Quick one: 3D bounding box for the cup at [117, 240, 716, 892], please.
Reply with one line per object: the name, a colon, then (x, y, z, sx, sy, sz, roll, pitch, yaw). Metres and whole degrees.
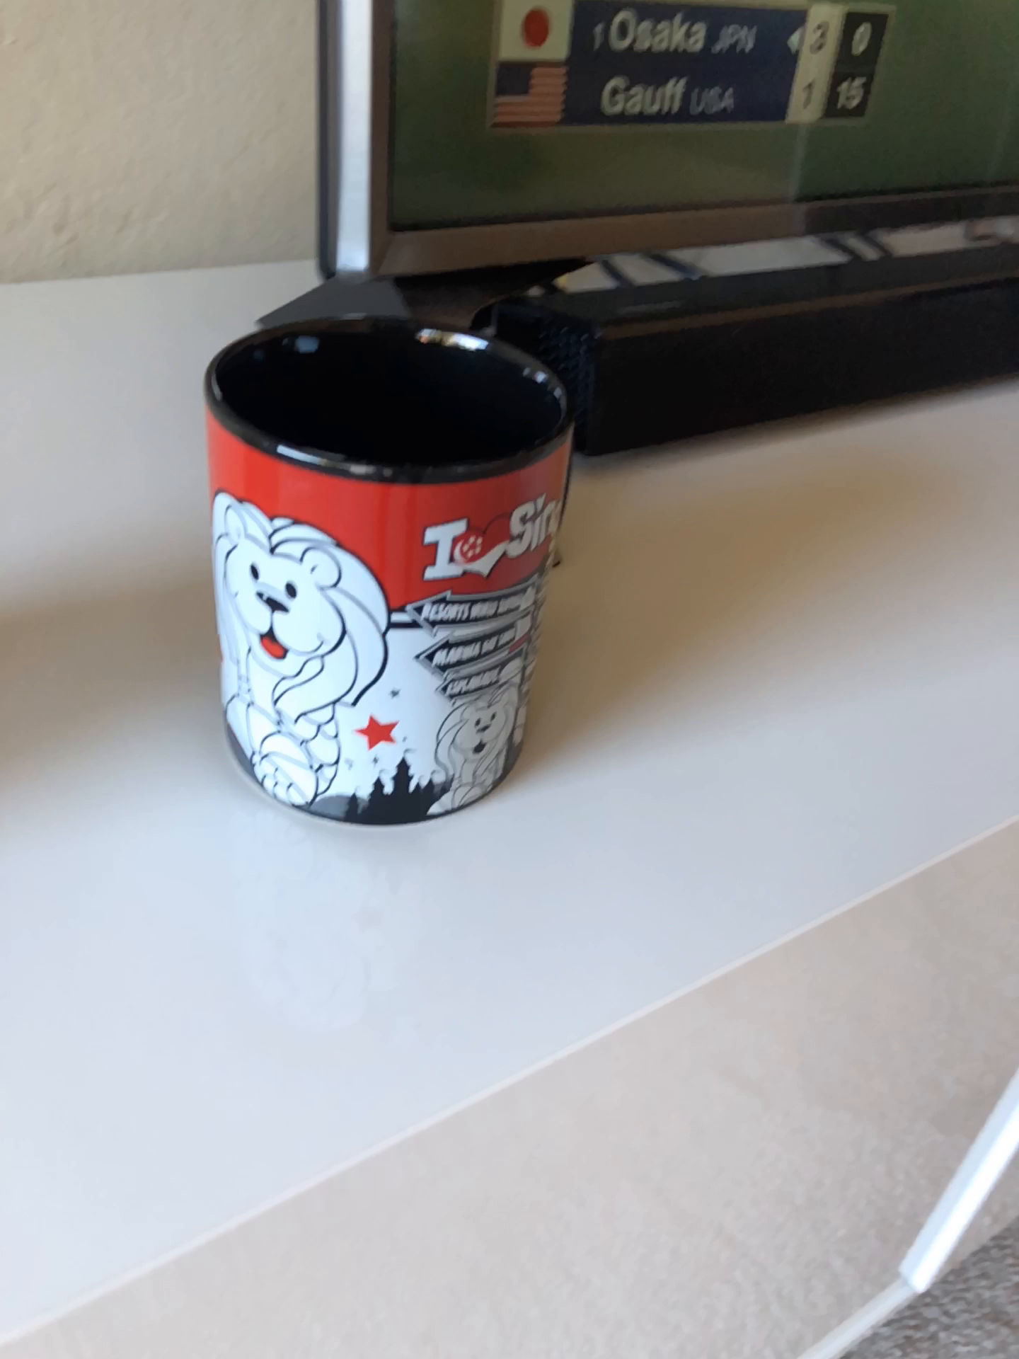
cup: (-0.020, -0.037, 0.293, 0.080, 0.109, 0.120, 26, 40, 24)
